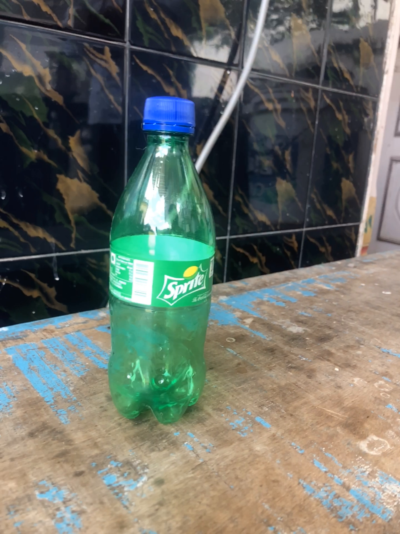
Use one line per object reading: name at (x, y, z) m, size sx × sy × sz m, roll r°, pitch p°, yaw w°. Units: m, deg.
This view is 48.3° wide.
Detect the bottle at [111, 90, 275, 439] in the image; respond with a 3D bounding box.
bottle at (-0.008, -0.002, 0.233) m, size 0.060 × 0.159 × 0.050 m, roll -5°, pitch 17°, yaw -31°
